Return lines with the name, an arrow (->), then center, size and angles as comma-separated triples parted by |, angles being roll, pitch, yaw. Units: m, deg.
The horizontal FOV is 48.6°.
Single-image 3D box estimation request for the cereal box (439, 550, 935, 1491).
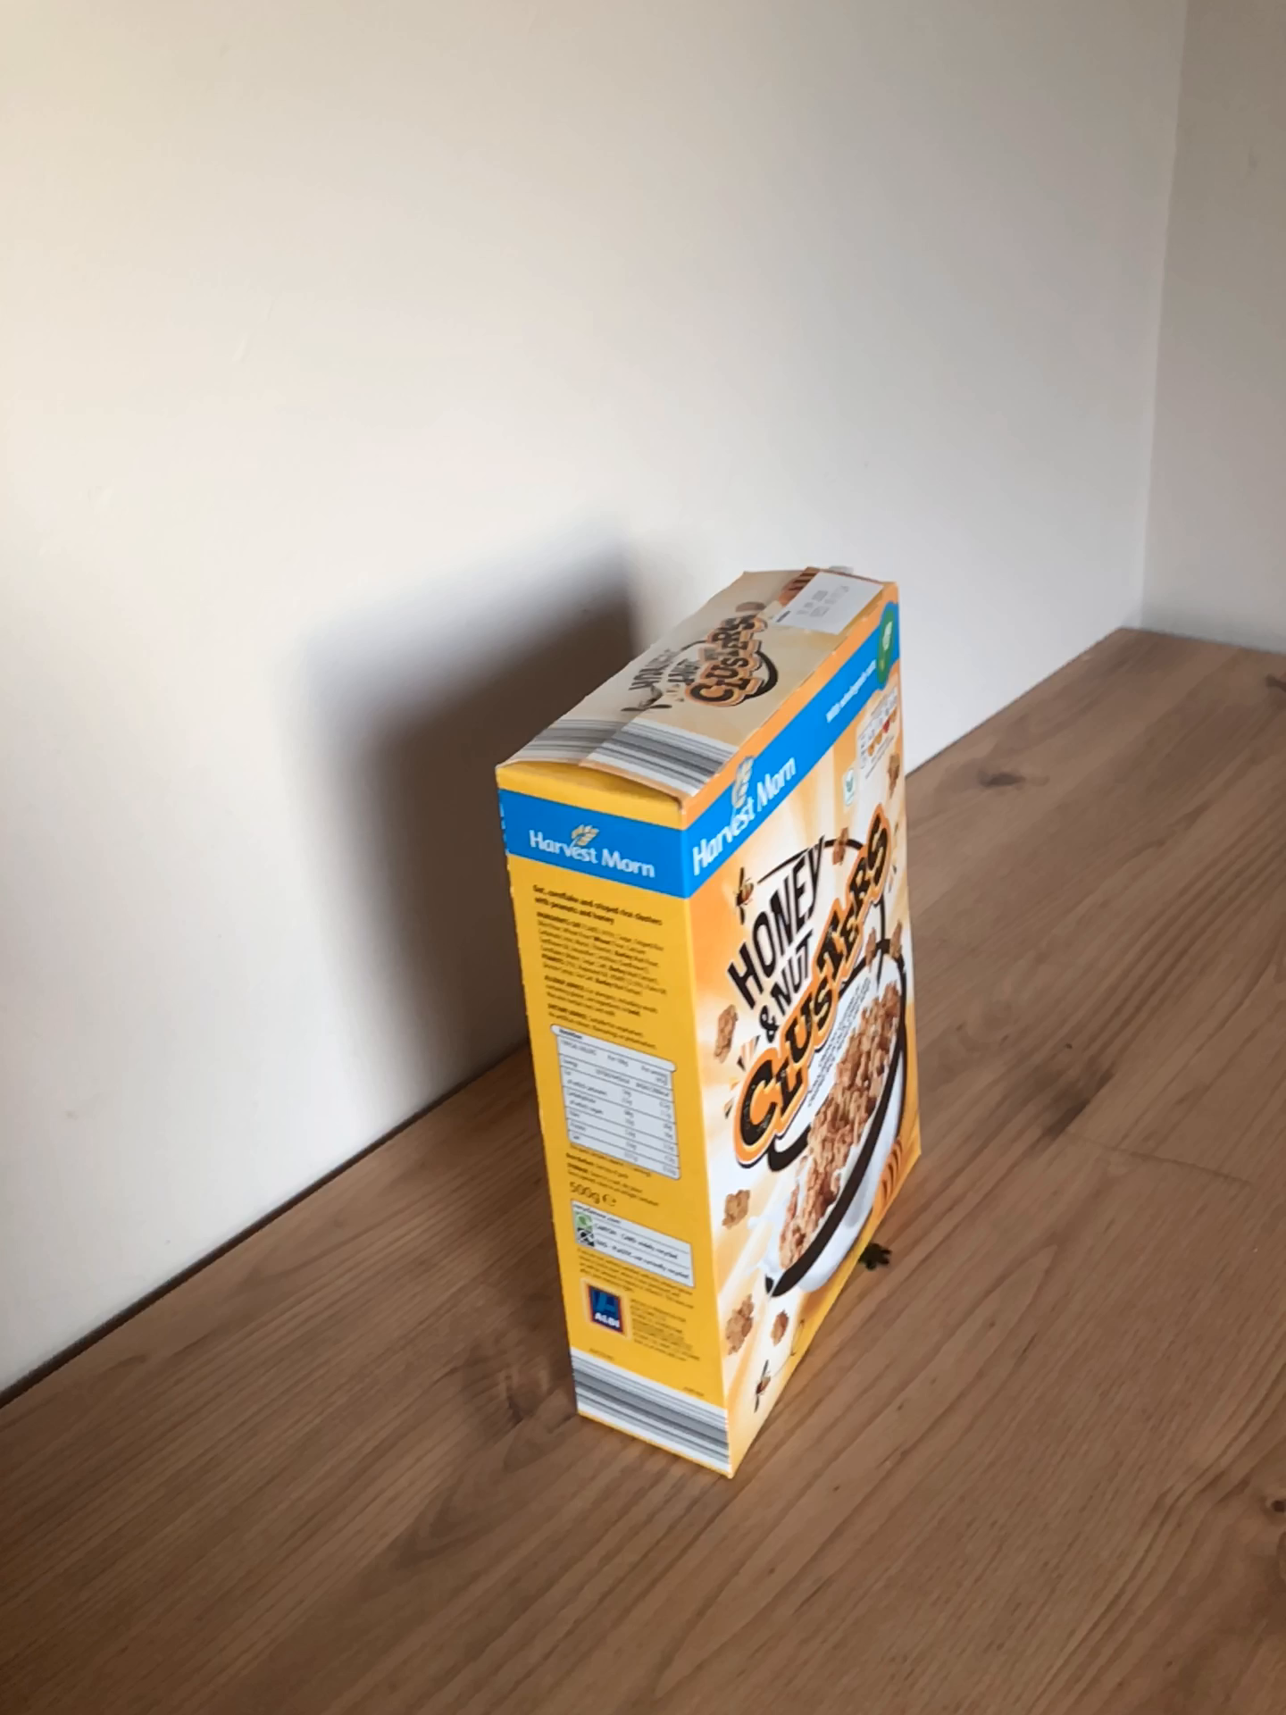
cereal box -> 0.033, 0.047, 0.490 | 0.070, 0.248, 0.191 | 11, 33, 27
